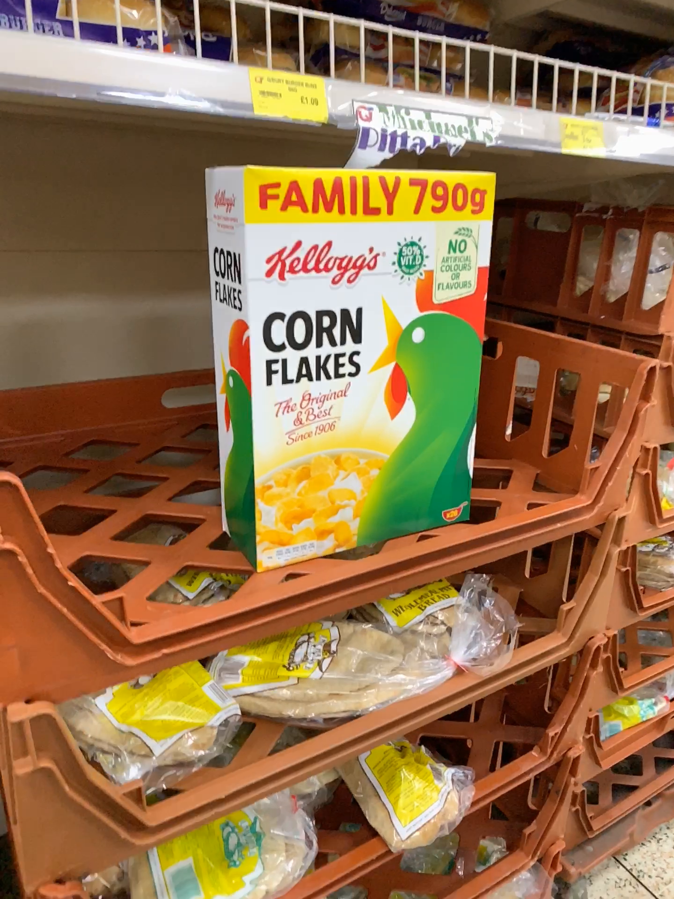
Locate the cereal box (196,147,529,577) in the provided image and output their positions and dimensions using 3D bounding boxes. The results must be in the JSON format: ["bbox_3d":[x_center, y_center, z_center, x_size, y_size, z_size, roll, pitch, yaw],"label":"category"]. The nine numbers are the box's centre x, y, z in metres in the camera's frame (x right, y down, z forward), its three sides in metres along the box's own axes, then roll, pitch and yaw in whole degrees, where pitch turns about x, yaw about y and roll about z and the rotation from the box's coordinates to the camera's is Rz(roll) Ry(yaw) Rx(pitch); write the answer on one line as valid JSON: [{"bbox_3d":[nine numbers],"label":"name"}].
[{"bbox_3d":[0.021,-0.084,0.631,0.271,0.337,0.090,-9,23,-29],"label":"cereal box"}]
